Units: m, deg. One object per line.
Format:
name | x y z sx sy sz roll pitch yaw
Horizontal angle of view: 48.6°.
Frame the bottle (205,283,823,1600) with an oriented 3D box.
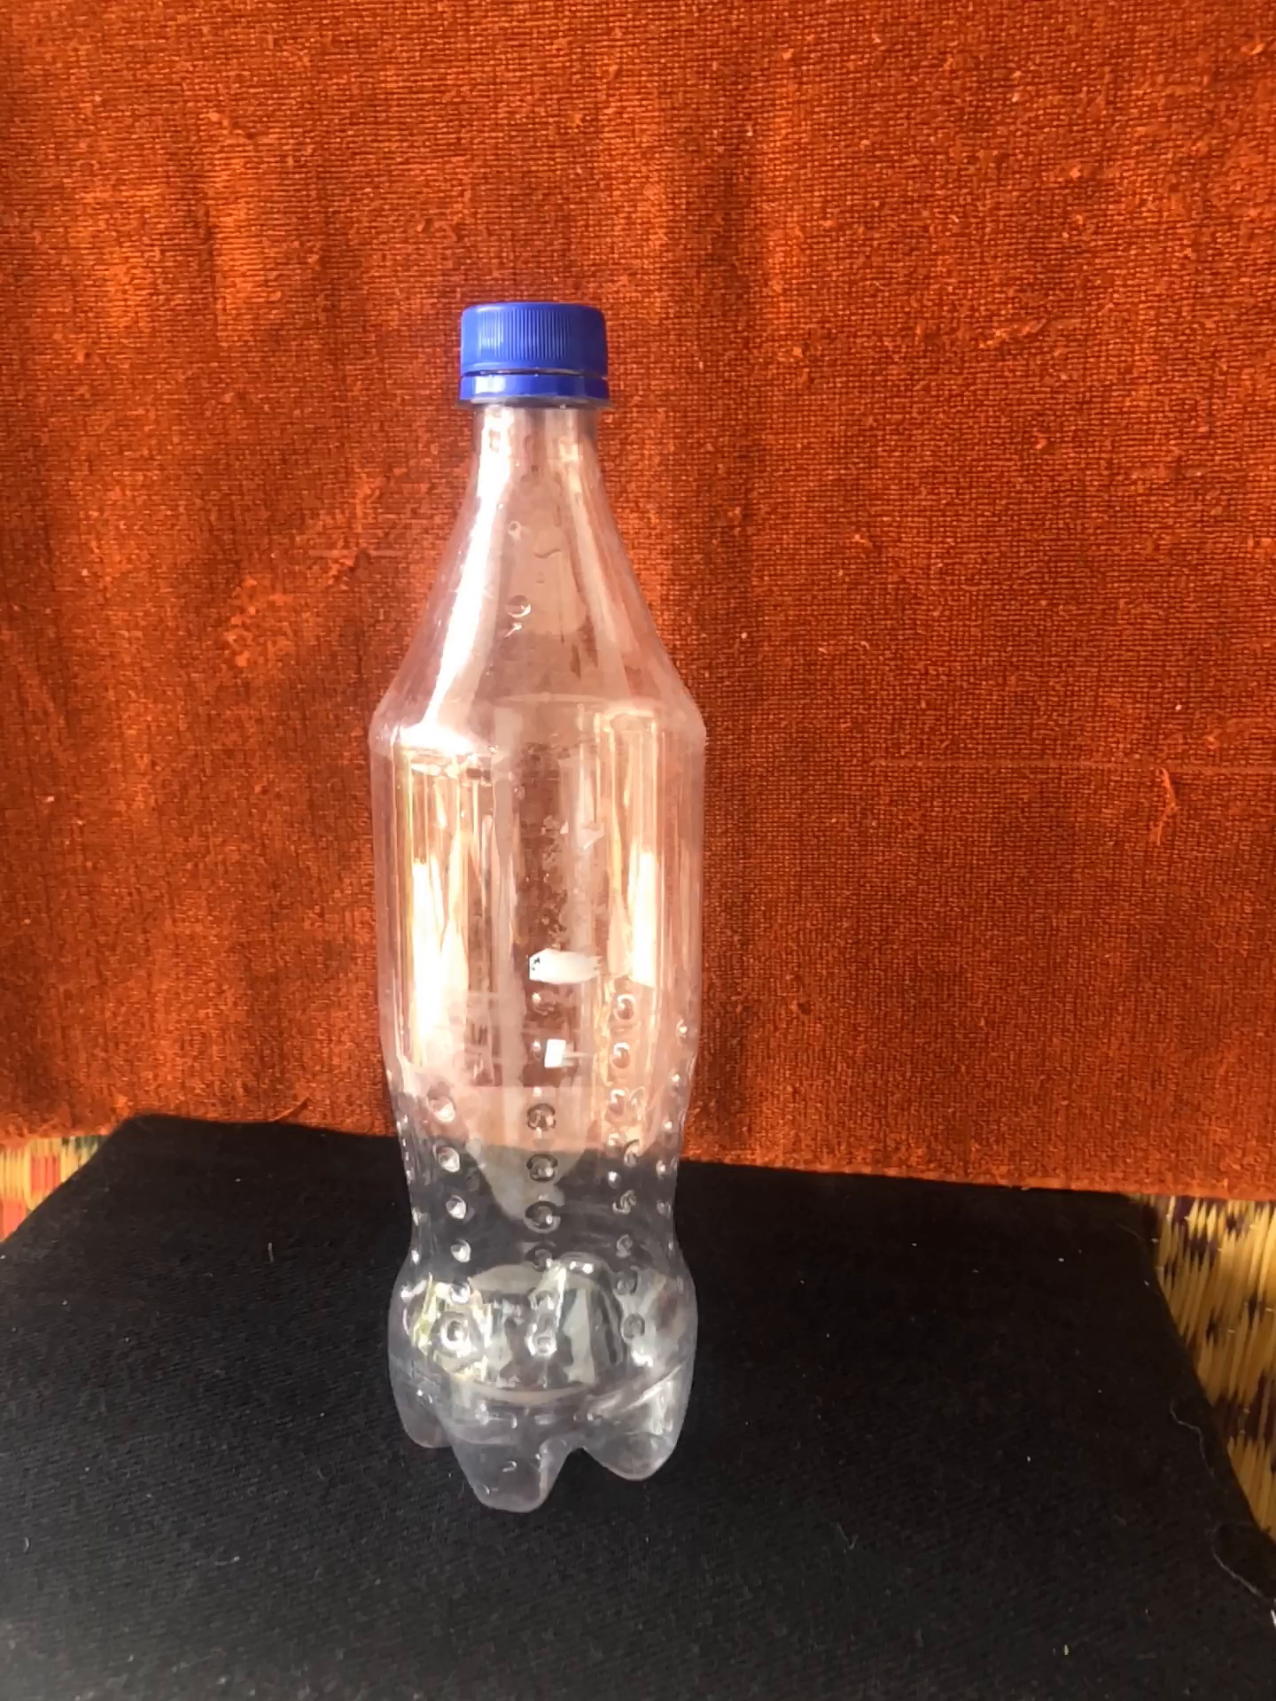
bottle | -0.023 0.015 0.309 0.090 0.249 0.080 15 22 42
